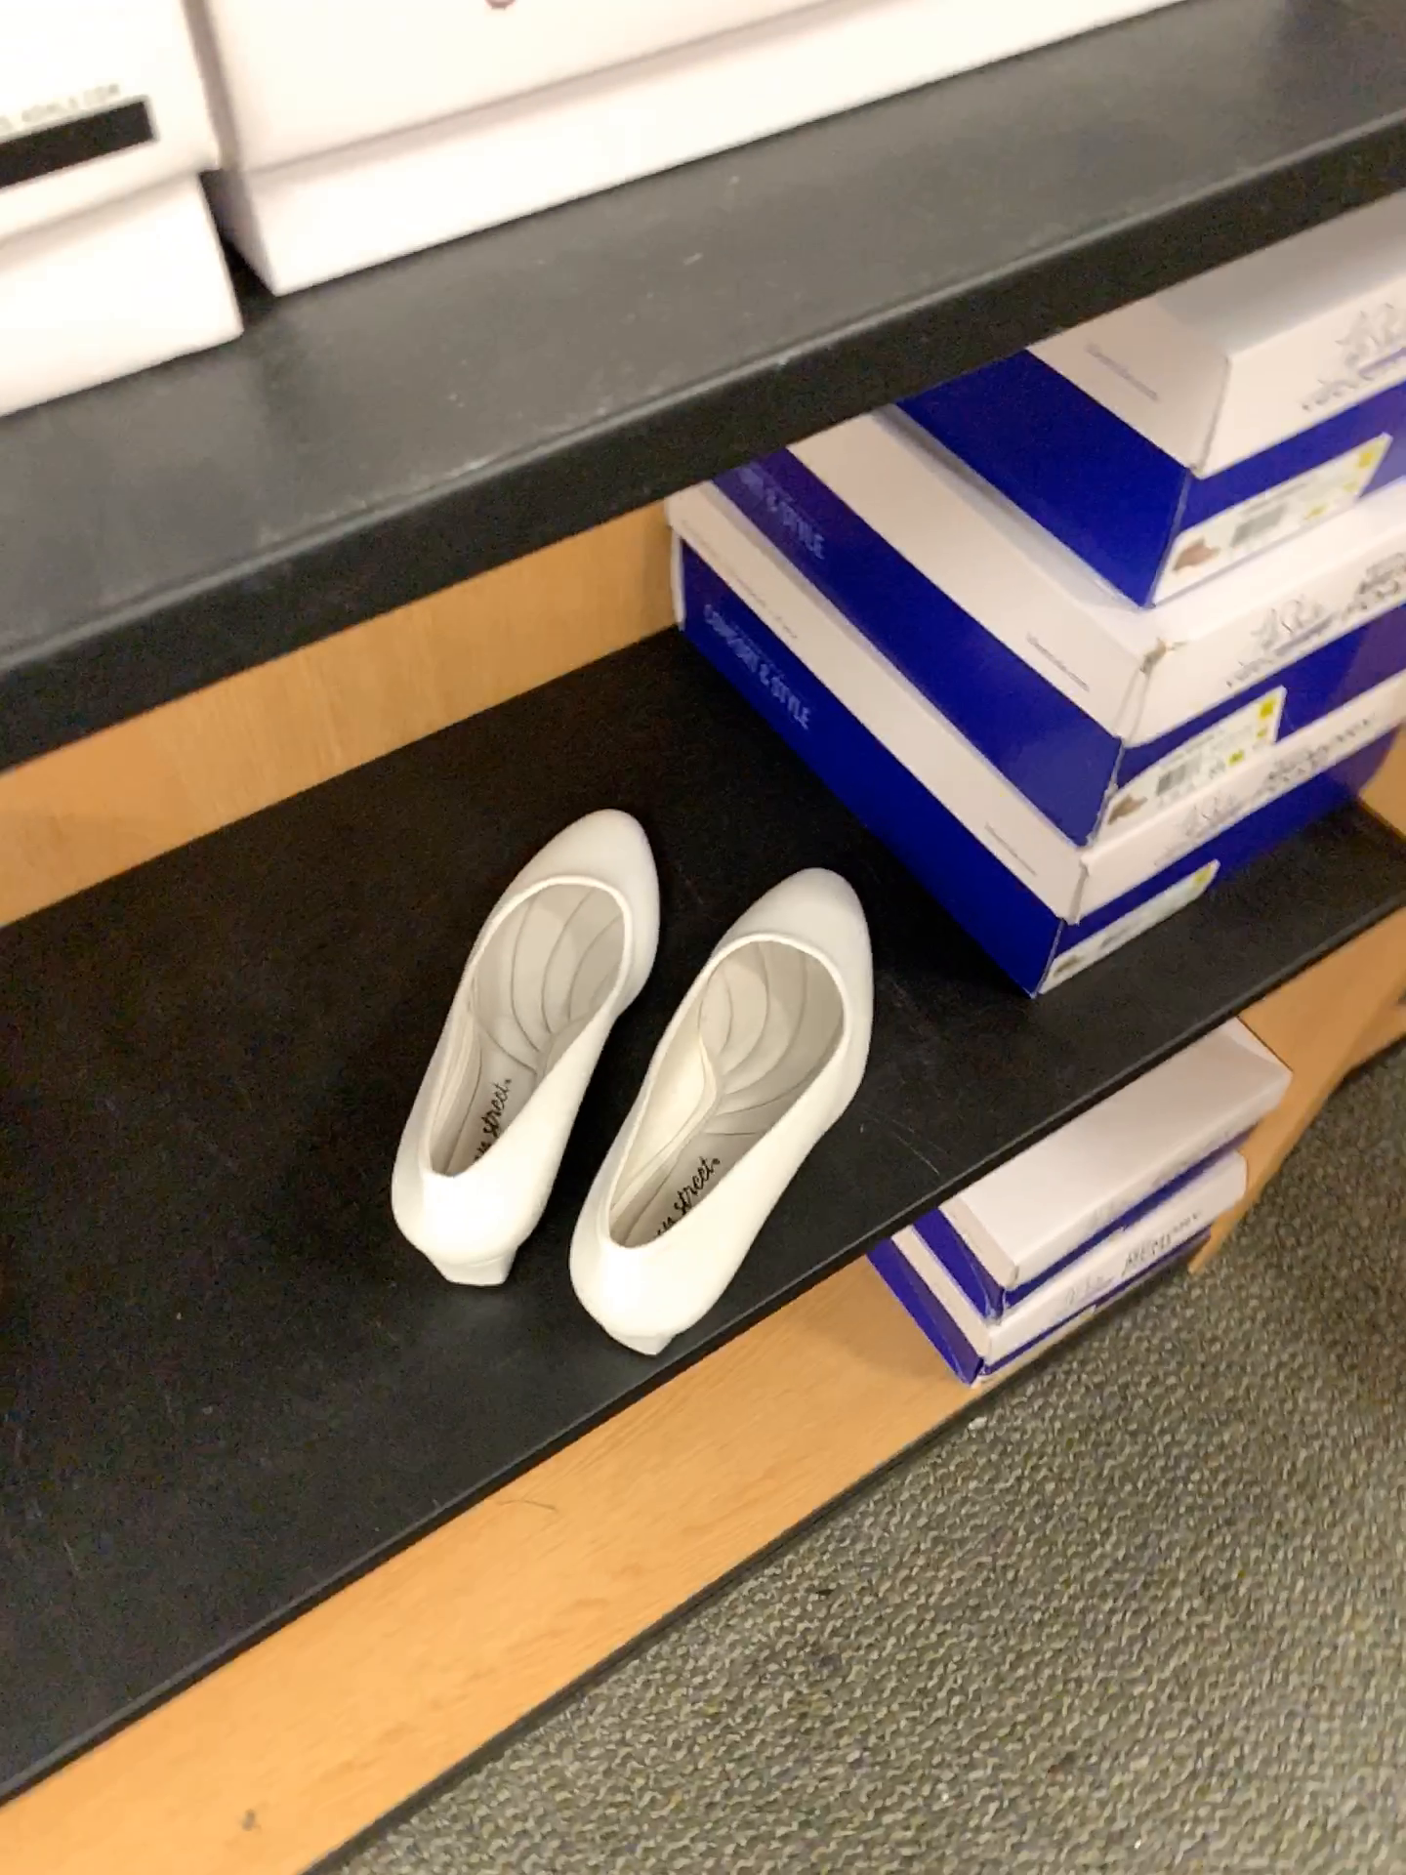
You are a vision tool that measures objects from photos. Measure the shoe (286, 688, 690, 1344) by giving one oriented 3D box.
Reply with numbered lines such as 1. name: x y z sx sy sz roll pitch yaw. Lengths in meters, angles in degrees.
1. shoe: -0.077 0.026 0.609 0.080 0.100 0.251 13 57 7

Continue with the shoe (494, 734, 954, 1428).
1. shoe: 0.016 0.053 0.597 0.090 0.110 0.251 19 58 11
